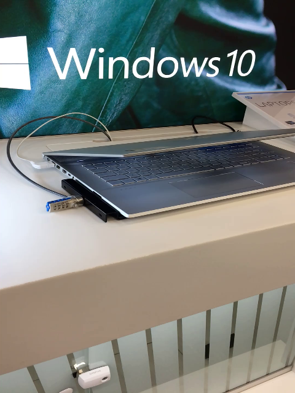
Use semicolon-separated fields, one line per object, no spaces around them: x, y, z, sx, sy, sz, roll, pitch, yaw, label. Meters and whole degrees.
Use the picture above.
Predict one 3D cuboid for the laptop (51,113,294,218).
0.096;-0.075;0.675;0.425;0.069;0.226;-10;30;-28;laptop
